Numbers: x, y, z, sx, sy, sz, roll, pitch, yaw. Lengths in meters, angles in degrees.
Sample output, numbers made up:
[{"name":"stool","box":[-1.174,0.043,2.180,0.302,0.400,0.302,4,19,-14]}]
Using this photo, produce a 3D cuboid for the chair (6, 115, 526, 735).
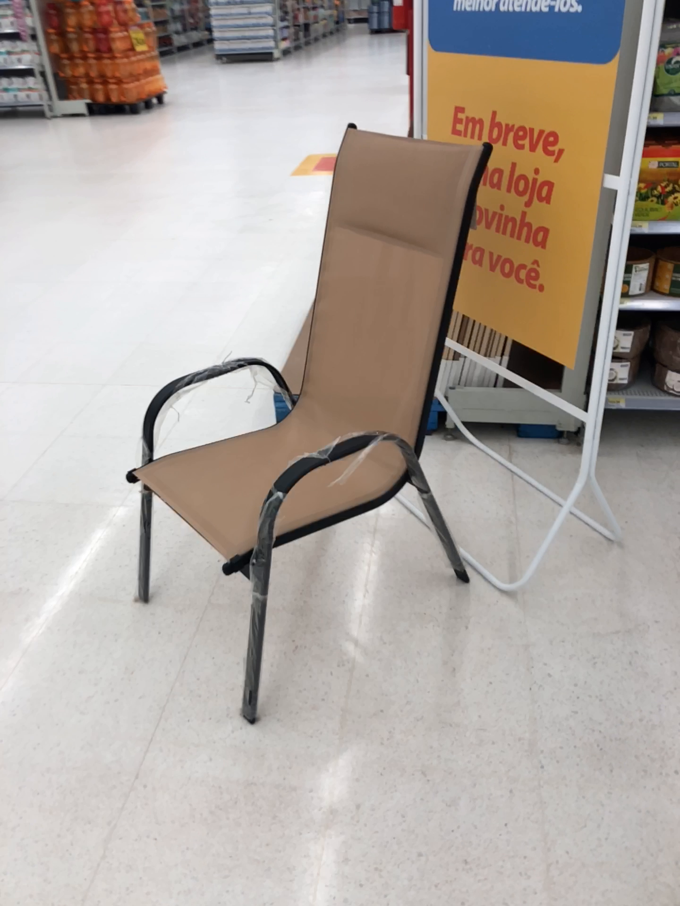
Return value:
[{"name":"chair","box":[-0.118,-0.117,1.573,0.702,0.973,0.623,-25,37,-30]}]
